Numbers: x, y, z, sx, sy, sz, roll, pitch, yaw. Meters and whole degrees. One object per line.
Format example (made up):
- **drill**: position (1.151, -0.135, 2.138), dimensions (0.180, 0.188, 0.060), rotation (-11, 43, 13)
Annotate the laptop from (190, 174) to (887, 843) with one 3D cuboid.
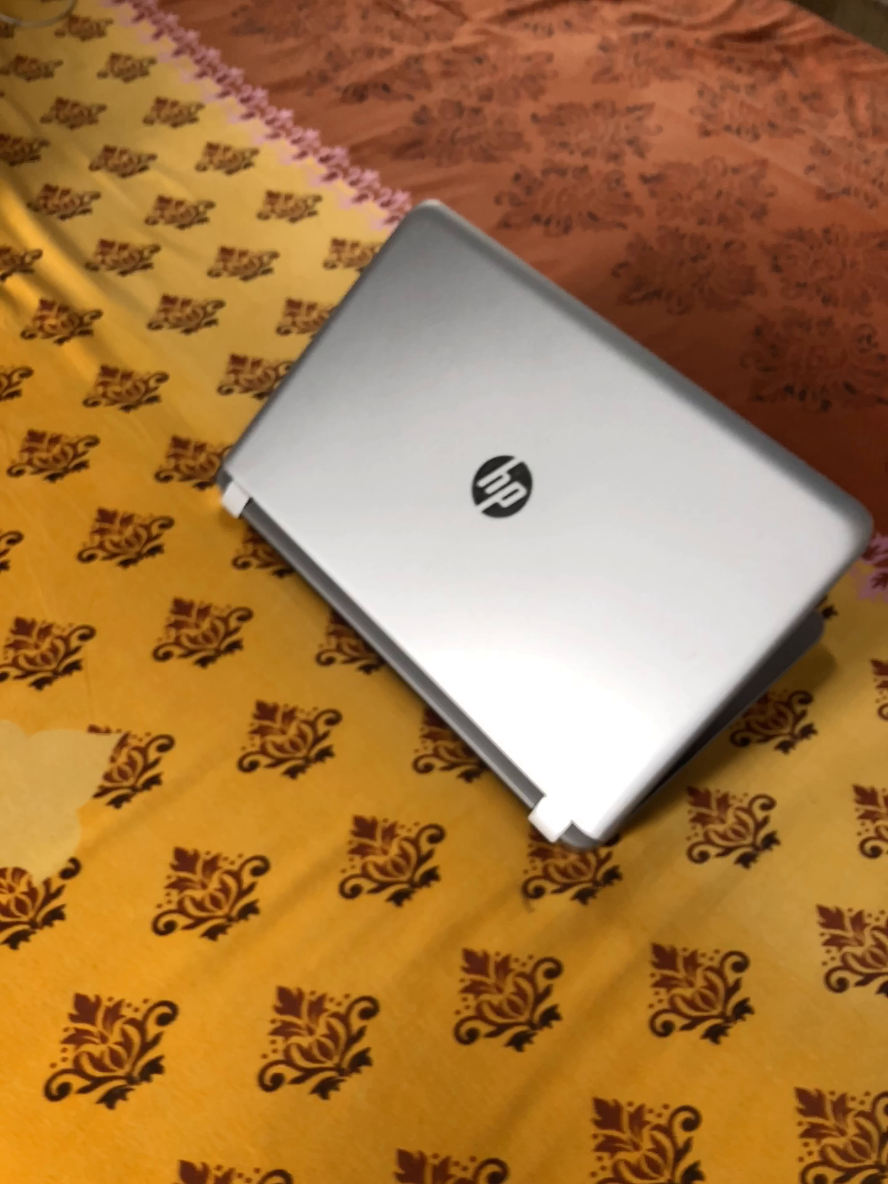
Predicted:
- **laptop**: position (0.055, -0.076, 0.654), dimensions (0.249, 0.155, 0.373), rotation (-35, 64, -24)
